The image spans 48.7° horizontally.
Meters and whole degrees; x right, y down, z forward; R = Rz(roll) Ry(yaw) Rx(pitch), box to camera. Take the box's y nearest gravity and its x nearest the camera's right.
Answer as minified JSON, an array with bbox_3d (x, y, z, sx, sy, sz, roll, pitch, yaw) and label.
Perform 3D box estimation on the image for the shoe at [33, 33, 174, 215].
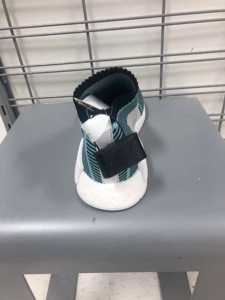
[{"bbox_3d":[0.002,-0.068,0.369,0.120,0.129,0.301,0,37,4],"label":"shoe"}]
